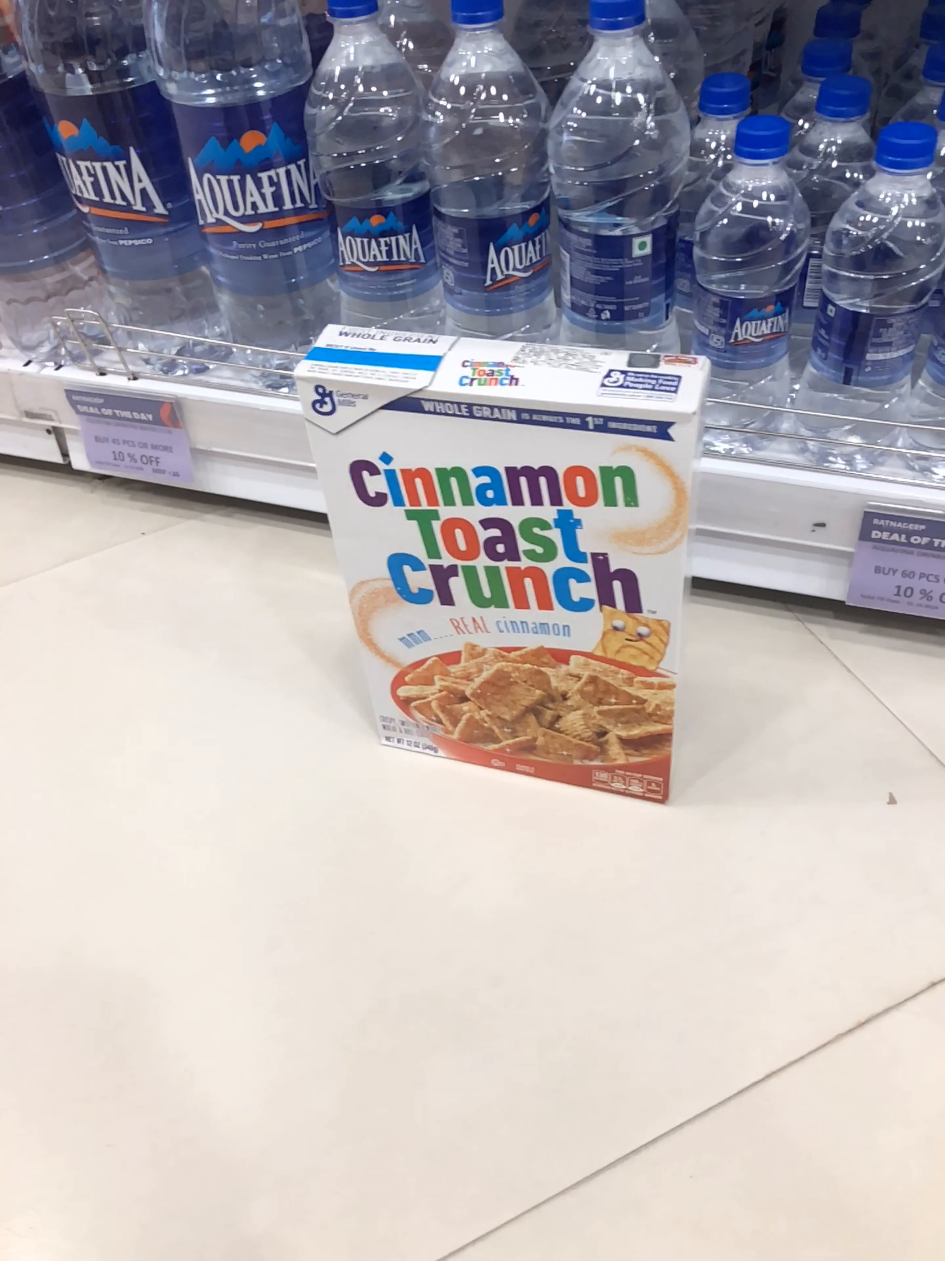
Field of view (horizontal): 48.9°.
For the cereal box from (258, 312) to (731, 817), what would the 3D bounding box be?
[{"bbox_3d":[0.021,-0.022,0.558,0.200,0.278,0.060,9,49,16],"label":"cereal box"}]
